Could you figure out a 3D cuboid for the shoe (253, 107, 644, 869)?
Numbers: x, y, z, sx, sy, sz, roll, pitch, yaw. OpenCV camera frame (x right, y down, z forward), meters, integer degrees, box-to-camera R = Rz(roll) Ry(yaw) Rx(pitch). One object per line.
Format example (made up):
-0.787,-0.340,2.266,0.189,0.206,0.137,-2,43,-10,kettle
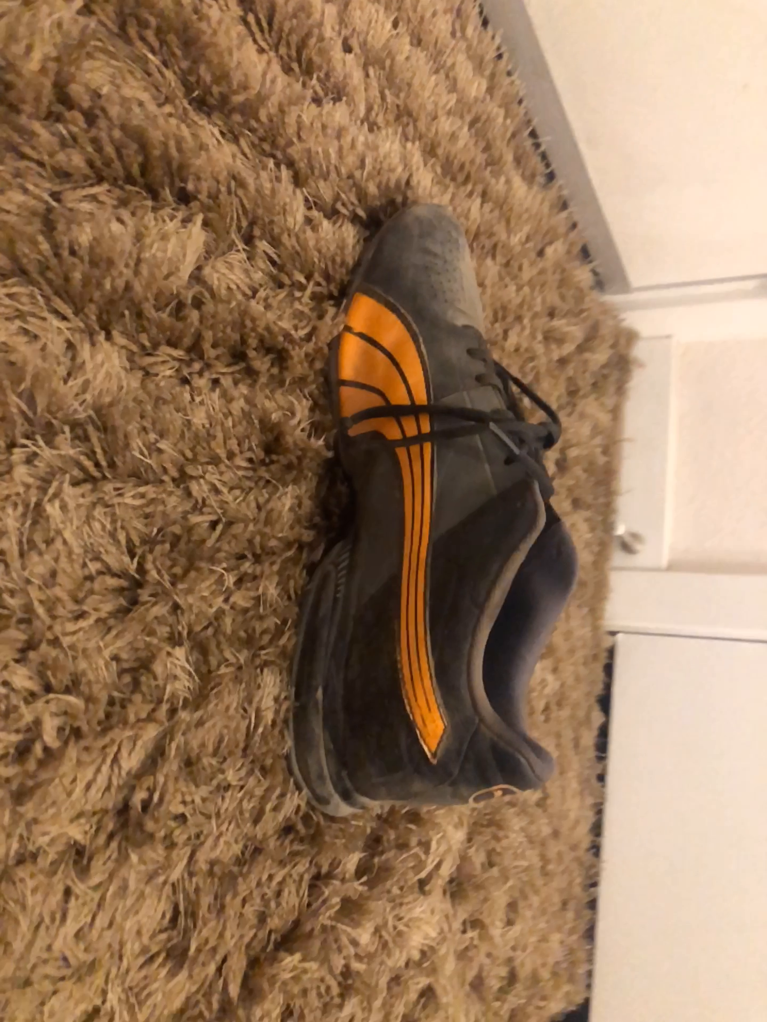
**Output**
0.046,-0.009,0.393,0.123,0.109,0.300,36,59,-60,shoe
